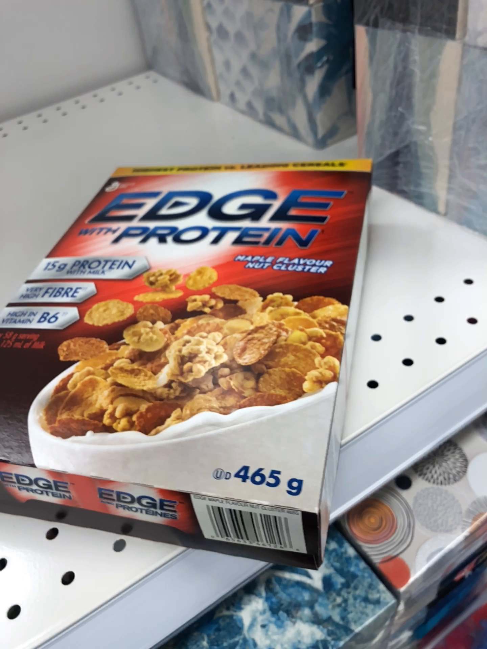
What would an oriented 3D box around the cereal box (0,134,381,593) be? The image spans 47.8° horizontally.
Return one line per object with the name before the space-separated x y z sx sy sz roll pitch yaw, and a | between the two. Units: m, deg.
cereal box | -0.045 -0.019 0.309 0.220 0.050 0.271 3 44 16
